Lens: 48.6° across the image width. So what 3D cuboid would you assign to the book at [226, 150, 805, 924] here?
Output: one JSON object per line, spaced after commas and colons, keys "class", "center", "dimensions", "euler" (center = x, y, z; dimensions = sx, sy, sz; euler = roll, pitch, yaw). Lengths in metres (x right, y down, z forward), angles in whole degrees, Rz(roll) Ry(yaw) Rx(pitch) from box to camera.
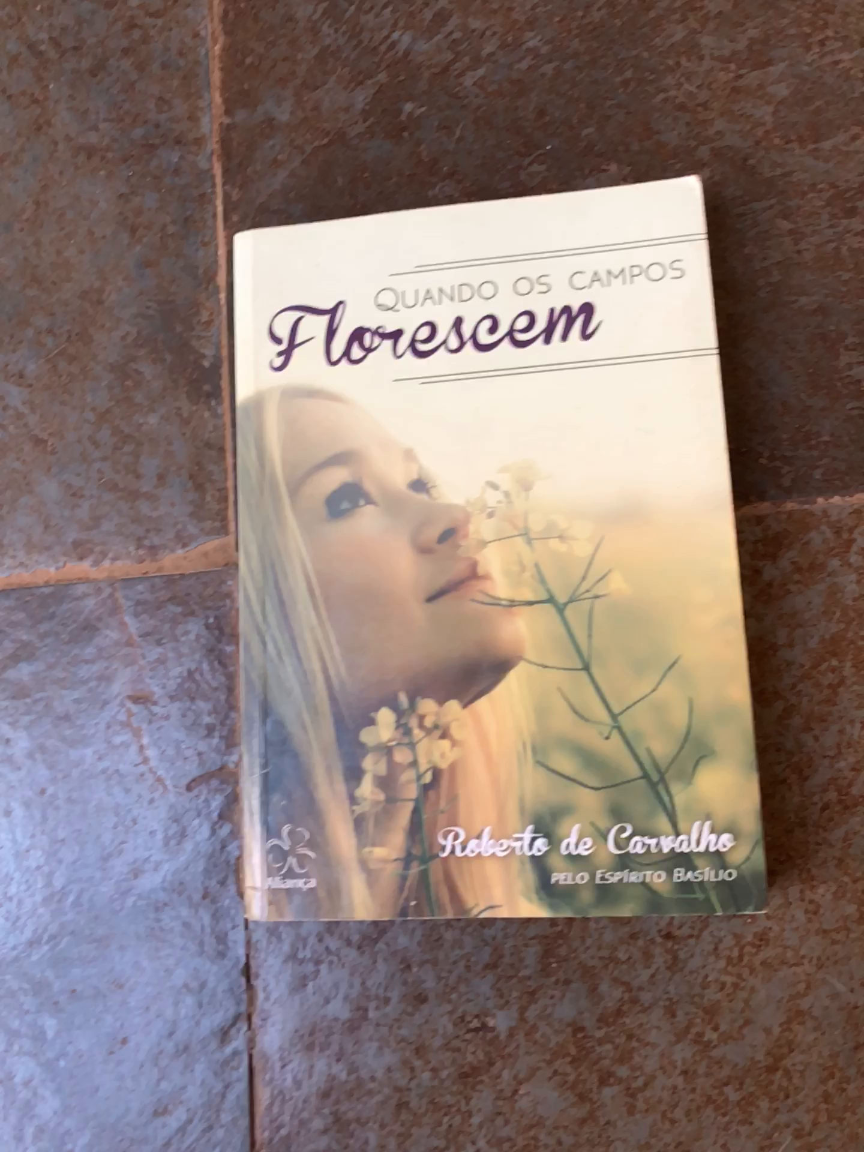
{"class": "book", "center": [0.019, -0.012, 0.301], "dimensions": [0.161, 0.022, 0.225], "euler": [-4, 82, 9]}
